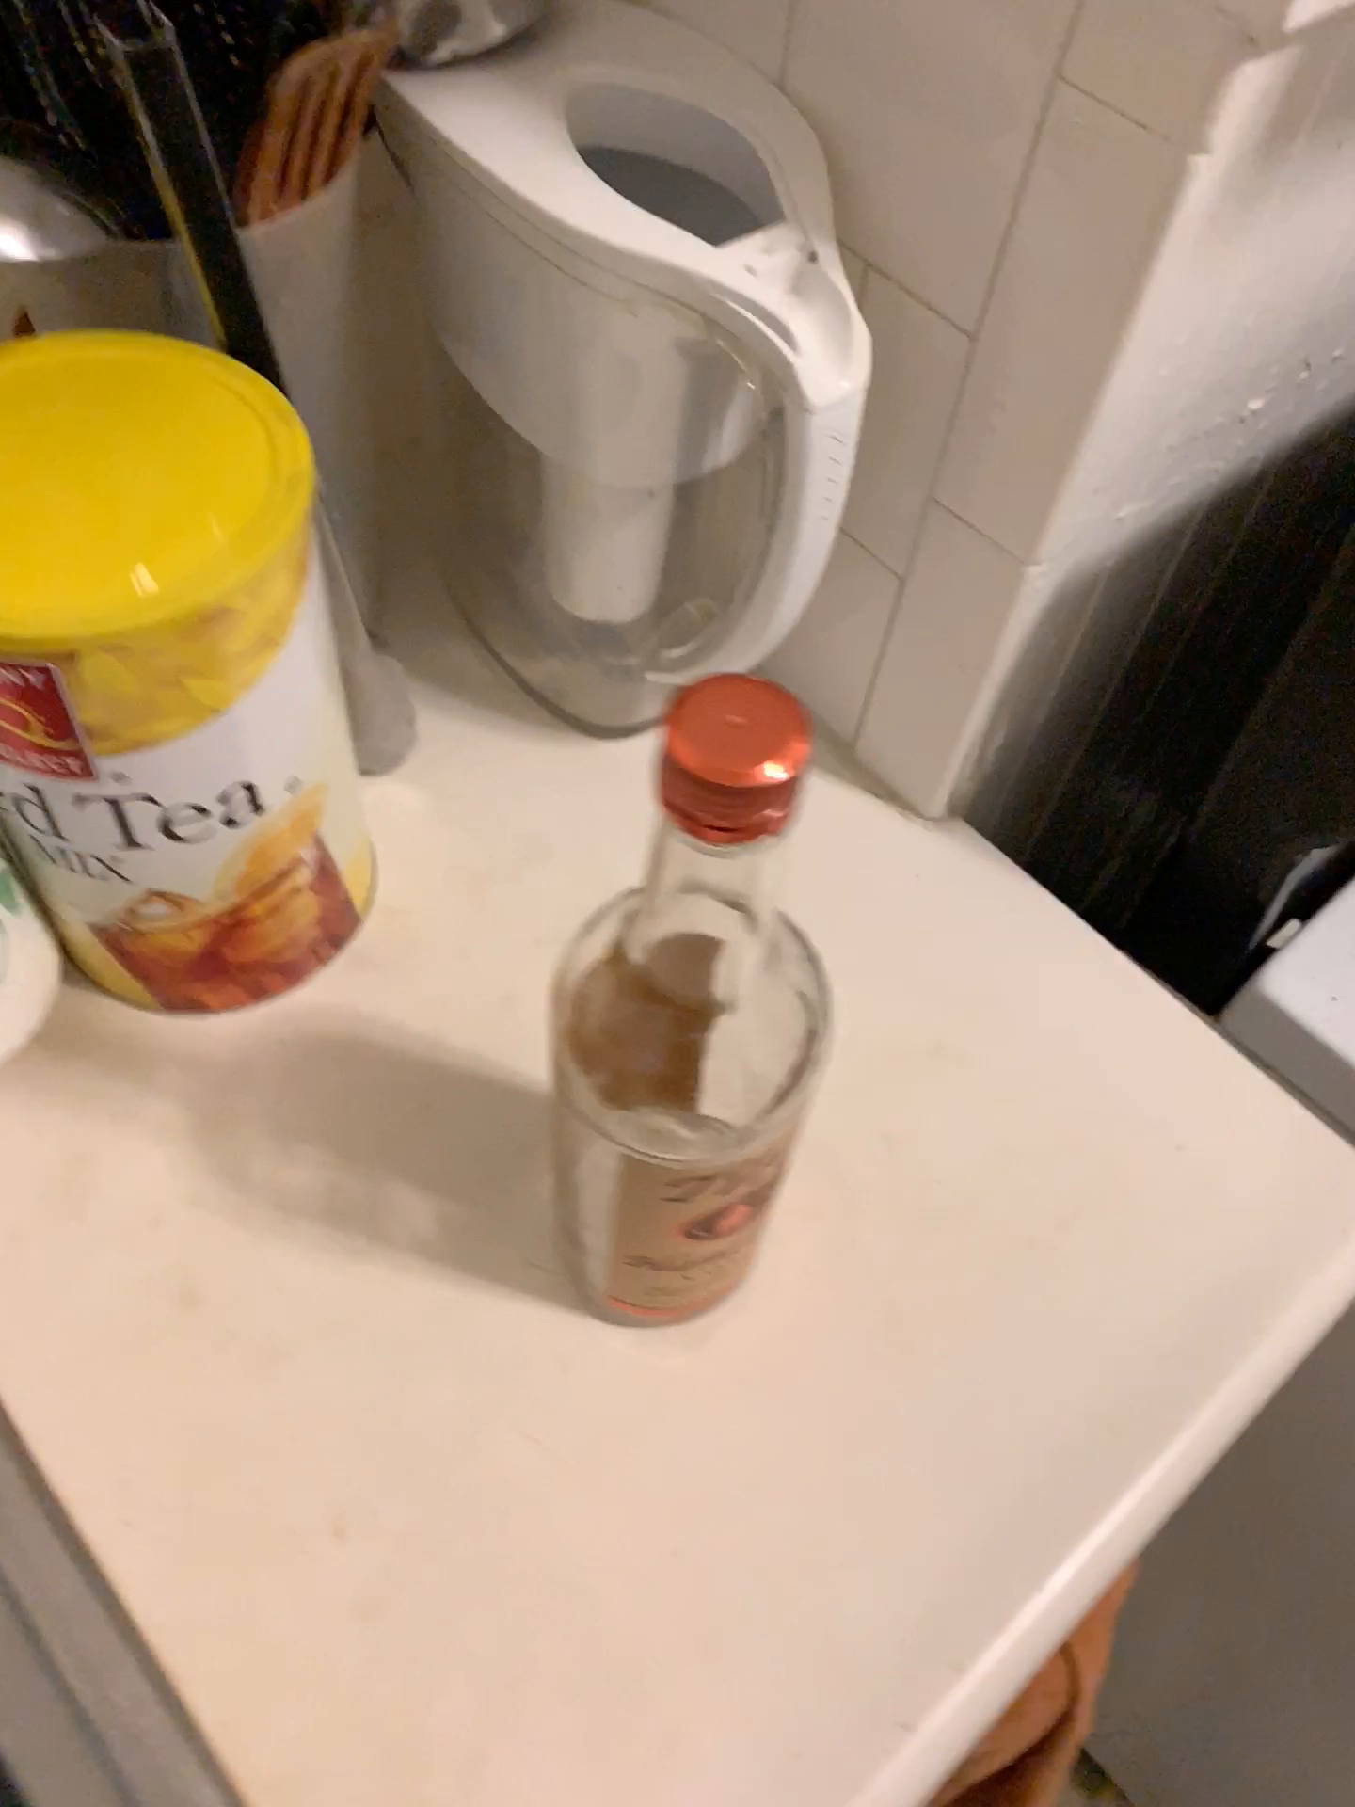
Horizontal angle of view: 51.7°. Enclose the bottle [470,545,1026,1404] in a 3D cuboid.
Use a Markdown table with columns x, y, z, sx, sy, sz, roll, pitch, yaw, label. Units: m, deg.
| x | y | z | sx | sy | sz | roll | pitch | yaw | label |
| --- | --- | --- | --- | --- | --- | --- | --- | --- | --- |
| 0.001 | 0.047 | 0.396 | 0.080 | 0.289 | 0.080 | 3 | 56 | -4 | bottle |
